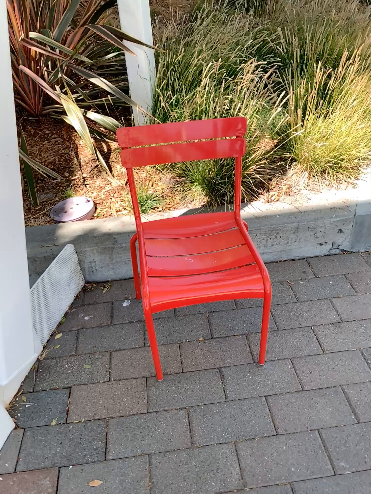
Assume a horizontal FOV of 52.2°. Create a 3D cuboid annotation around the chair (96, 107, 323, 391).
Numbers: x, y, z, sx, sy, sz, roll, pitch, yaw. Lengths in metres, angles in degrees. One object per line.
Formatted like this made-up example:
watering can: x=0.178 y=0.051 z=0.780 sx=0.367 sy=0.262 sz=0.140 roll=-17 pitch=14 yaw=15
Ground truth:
chair: x=0.045 y=-0.005 z=1.439 sx=0.580 sy=0.785 sz=0.634 roll=-8 pitch=38 yaw=-4
